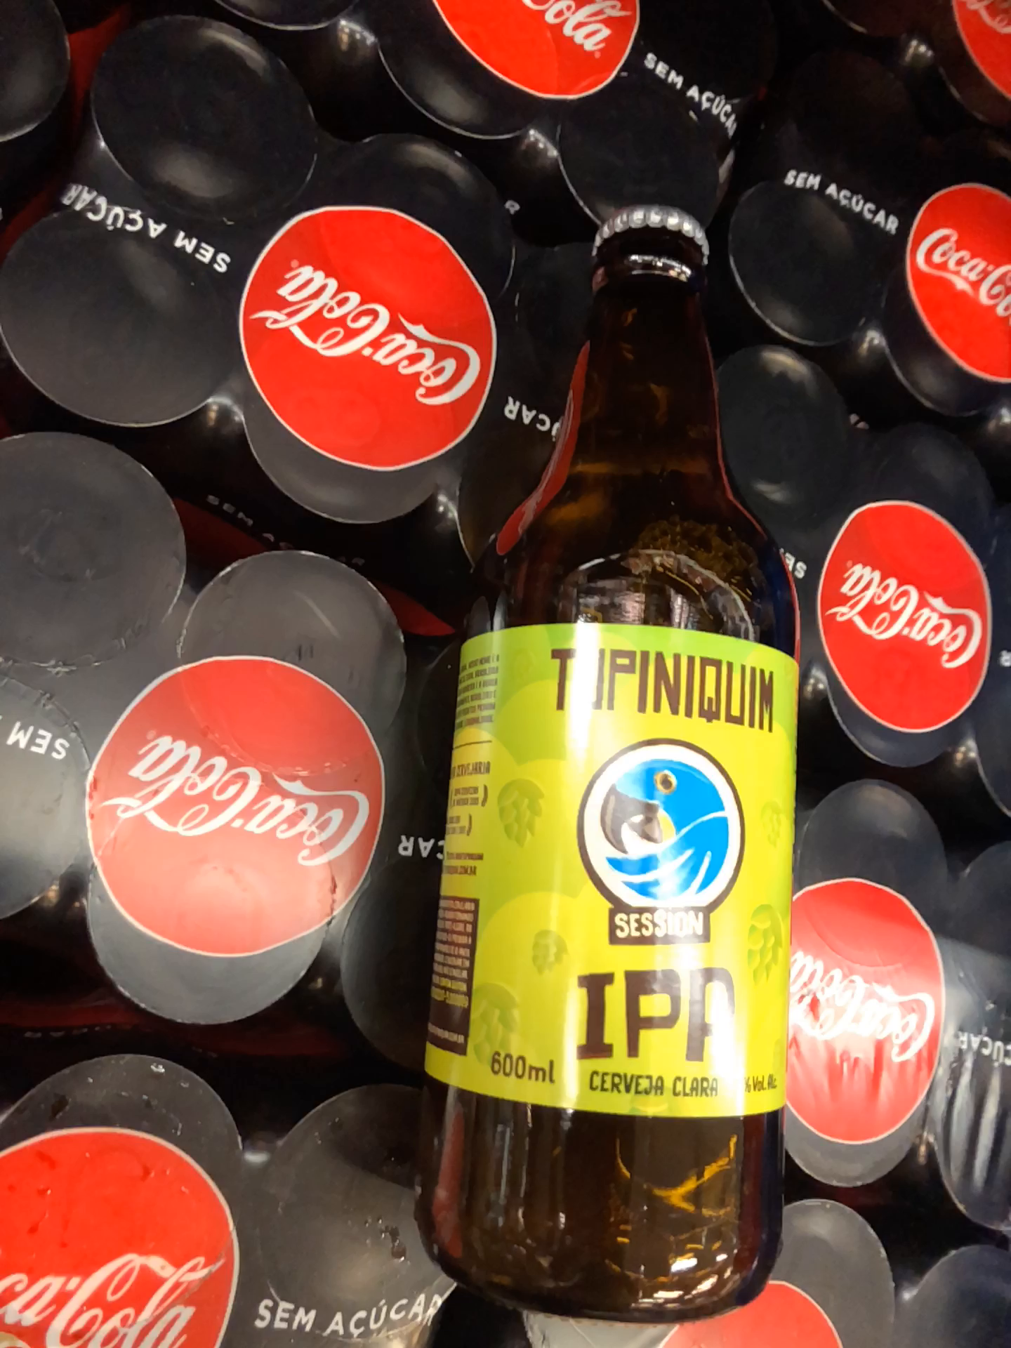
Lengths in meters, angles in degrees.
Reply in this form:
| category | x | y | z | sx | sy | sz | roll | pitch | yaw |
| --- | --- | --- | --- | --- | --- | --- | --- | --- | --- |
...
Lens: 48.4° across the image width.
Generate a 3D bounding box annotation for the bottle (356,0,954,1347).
| category | x | y | z | sx | sy | sz | roll | pitch | yaw |
| --- | --- | --- | --- | --- | --- | --- | --- | --- | --- |
| bottle | 0.032 | -0.004 | 0.239 | 0.090 | 0.070 | 0.260 | 8 | 78 | -21 |
